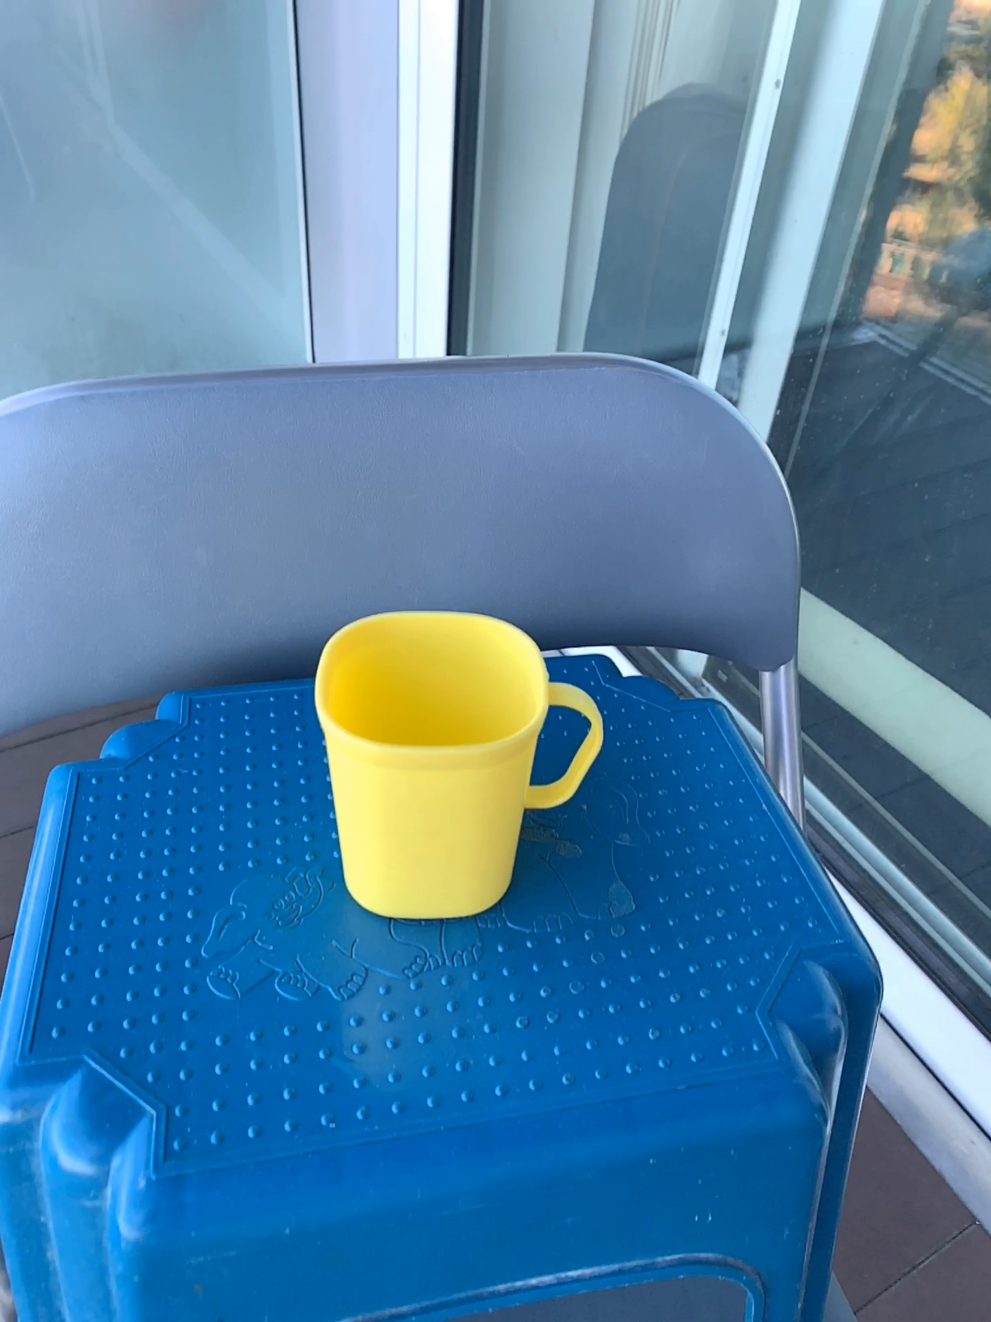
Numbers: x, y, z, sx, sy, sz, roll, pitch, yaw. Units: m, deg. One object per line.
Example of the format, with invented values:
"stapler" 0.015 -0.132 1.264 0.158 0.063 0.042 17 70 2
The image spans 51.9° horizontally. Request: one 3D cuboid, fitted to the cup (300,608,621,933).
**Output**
"cup" -0.013 0.034 0.332 0.089 0.077 0.068 -1 37 -4
